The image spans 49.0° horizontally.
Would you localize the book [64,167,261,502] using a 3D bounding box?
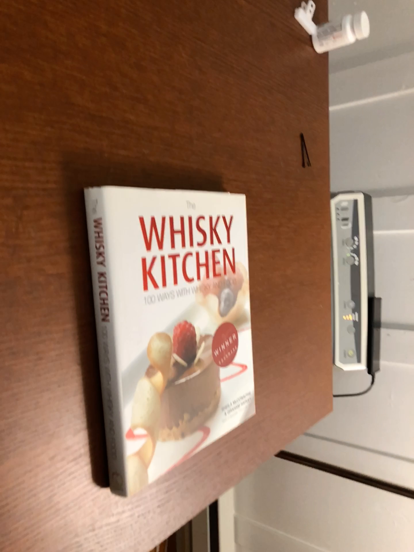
[{"bbox_3d":[-0.026,0.038,0.457,0.221,0.040,0.270,-11,100,-52],"label":"book"}]
